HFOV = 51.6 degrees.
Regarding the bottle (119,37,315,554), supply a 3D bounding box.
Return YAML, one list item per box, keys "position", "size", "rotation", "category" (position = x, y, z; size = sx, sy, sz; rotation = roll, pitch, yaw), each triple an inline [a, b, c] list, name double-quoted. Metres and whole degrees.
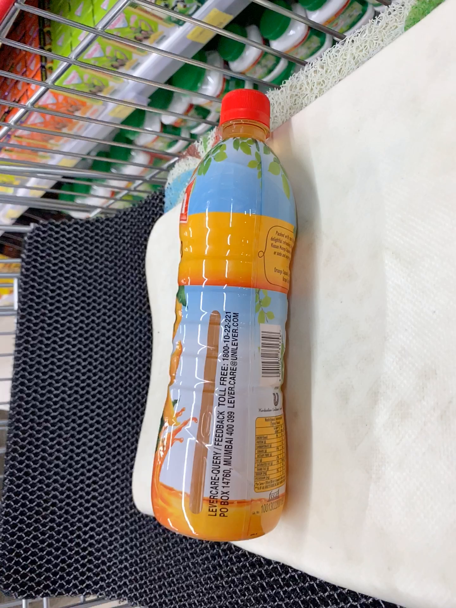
- position: [-0.004, -0.004, 0.256]
  size: [0.080, 0.070, 0.230]
  rotation: [-2, 87, 21]
  category: "bottle"
